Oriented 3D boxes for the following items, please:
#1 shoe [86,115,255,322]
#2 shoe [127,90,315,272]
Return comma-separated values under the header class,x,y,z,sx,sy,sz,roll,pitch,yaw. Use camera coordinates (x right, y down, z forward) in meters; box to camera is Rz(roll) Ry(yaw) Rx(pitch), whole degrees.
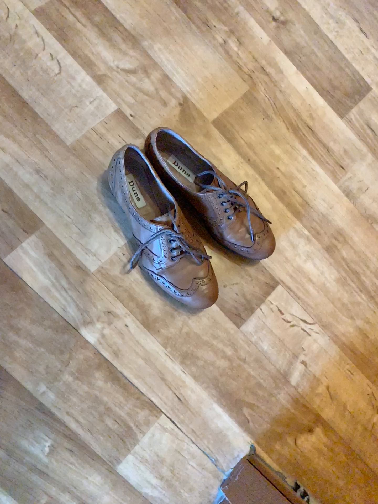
class,x,y,z,sx,sy,sz,roll,pitch,yaw
shoe,-0.034,-0.035,0.519,0.090,0.120,0.240,-32,91,-16
shoe,0.035,-0.083,0.529,0.230,0.120,0.080,41,74,-5
